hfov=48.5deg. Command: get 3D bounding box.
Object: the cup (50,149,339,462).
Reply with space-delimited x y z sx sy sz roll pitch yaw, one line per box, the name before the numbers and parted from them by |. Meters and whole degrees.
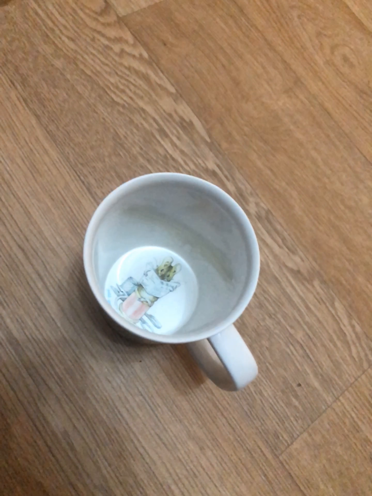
cup | -0.003 0.029 0.215 0.080 0.080 0.110 -29 80 -20
